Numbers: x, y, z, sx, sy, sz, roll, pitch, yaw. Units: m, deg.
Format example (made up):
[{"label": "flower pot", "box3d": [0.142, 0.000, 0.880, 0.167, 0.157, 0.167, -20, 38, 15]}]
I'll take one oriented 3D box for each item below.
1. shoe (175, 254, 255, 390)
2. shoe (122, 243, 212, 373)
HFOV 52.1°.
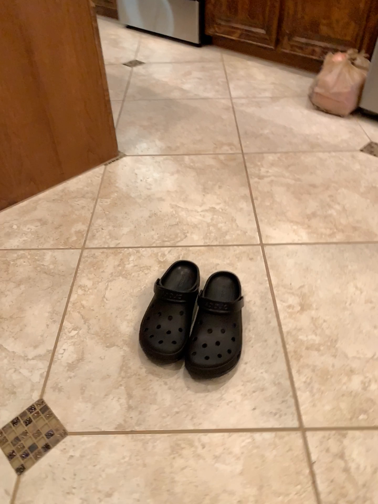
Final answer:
[{"label": "shoe", "box3d": [0.064, 0.138, 0.841, 0.123, 0.085, 0.279, 8, 45, 10]}, {"label": "shoe", "box3d": [-0.037, 0.114, 0.873, 0.113, 0.085, 0.279, 11, 46, 13]}]
